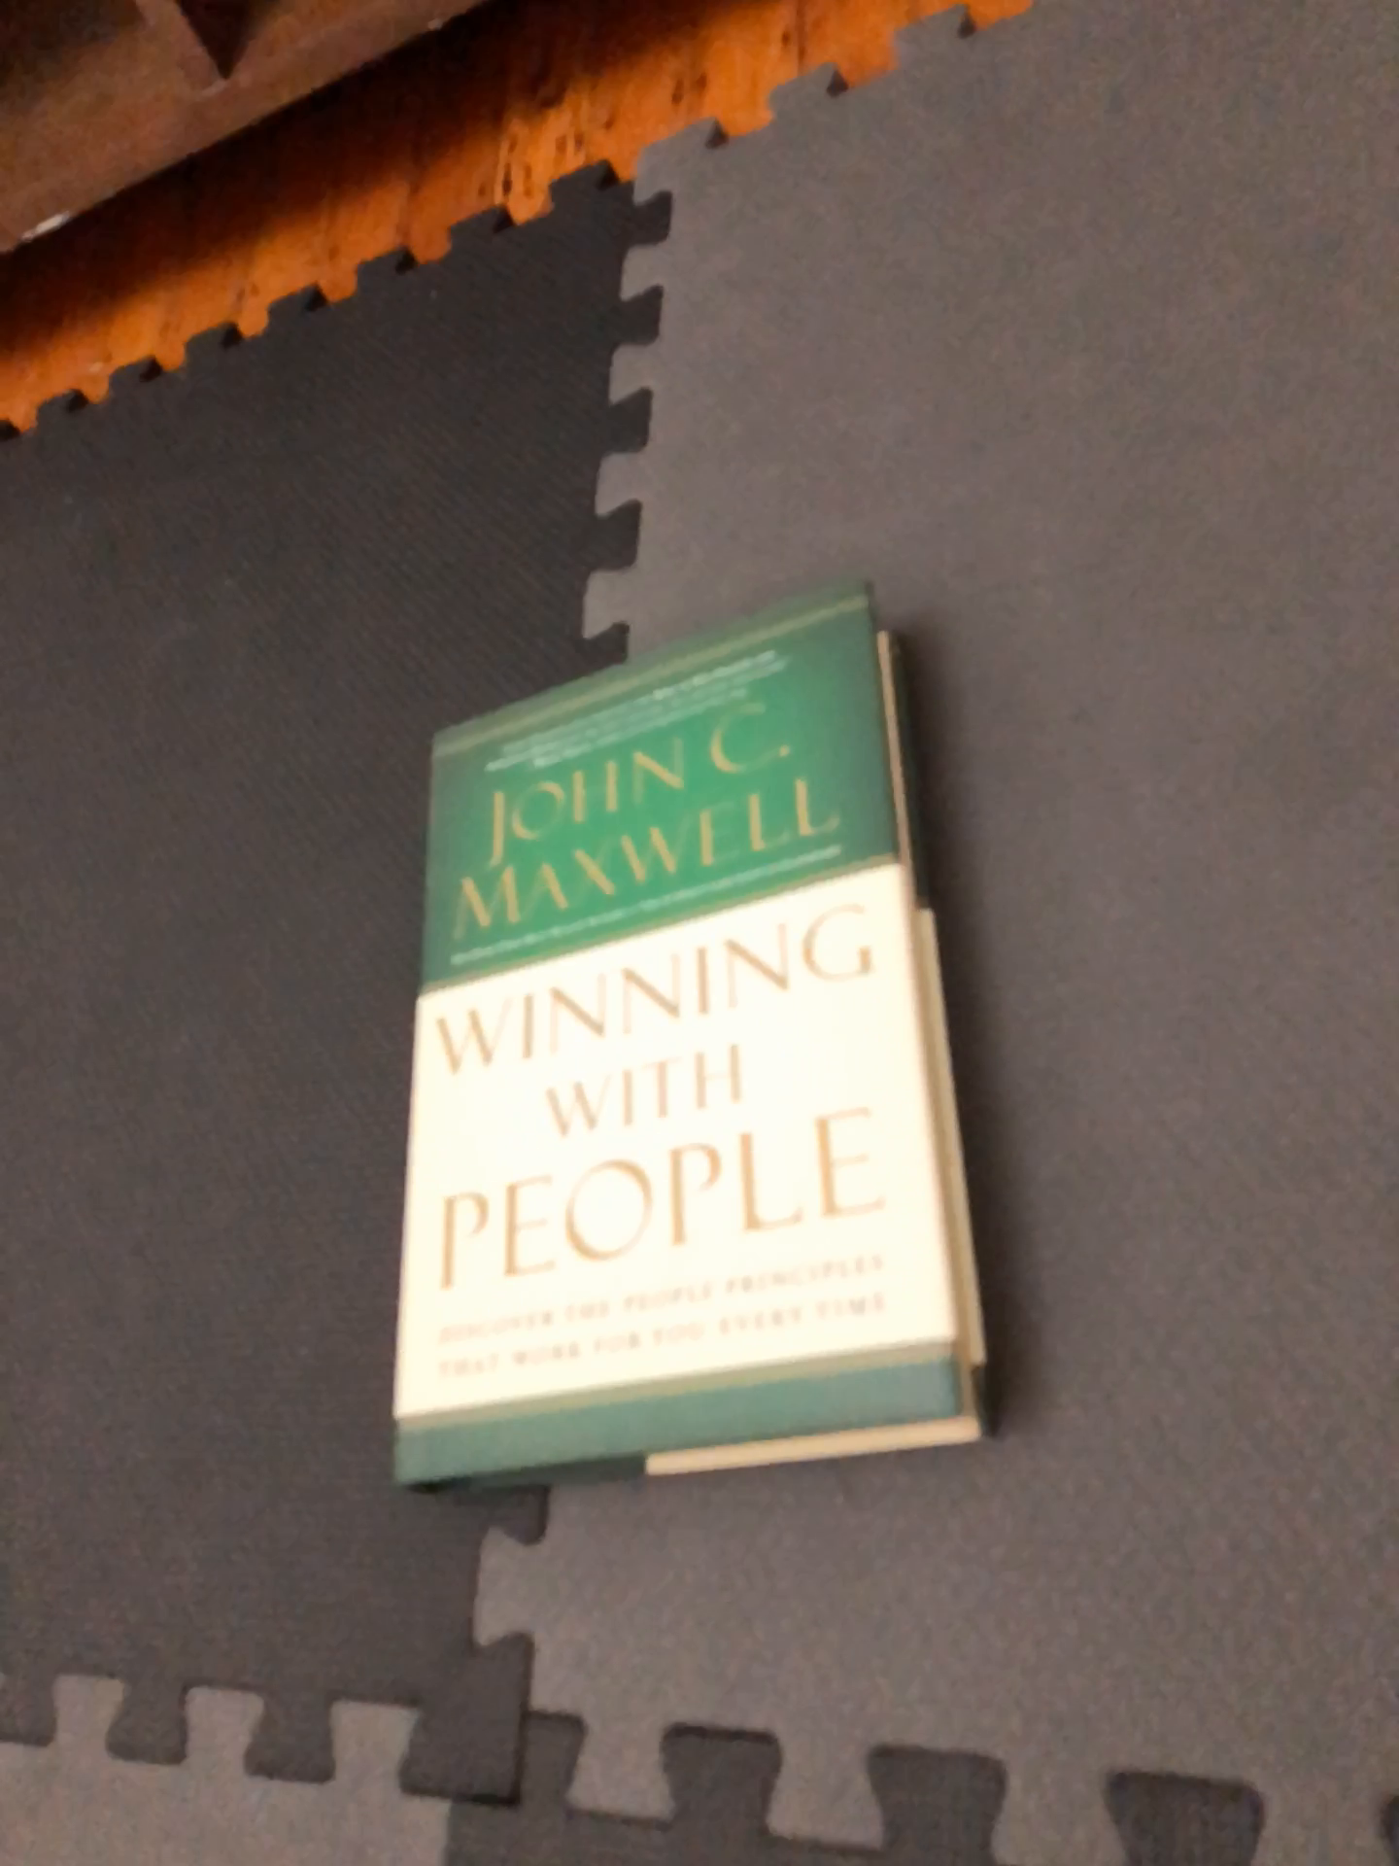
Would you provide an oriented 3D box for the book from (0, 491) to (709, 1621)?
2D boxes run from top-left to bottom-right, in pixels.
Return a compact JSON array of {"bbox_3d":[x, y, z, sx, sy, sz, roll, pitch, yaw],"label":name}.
[{"bbox_3d":[-0.094,0.030,0.422,0.200,0.030,0.291,-13,60,25],"label":"book"}]
